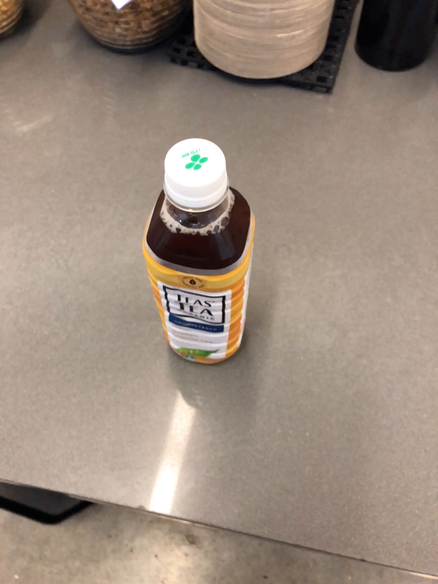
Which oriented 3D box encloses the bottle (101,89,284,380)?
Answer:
[{"bbox_3d":[-0.009,-0.015,0.304,0.070,0.200,0.070,0,62,0],"label":"bottle"}]
